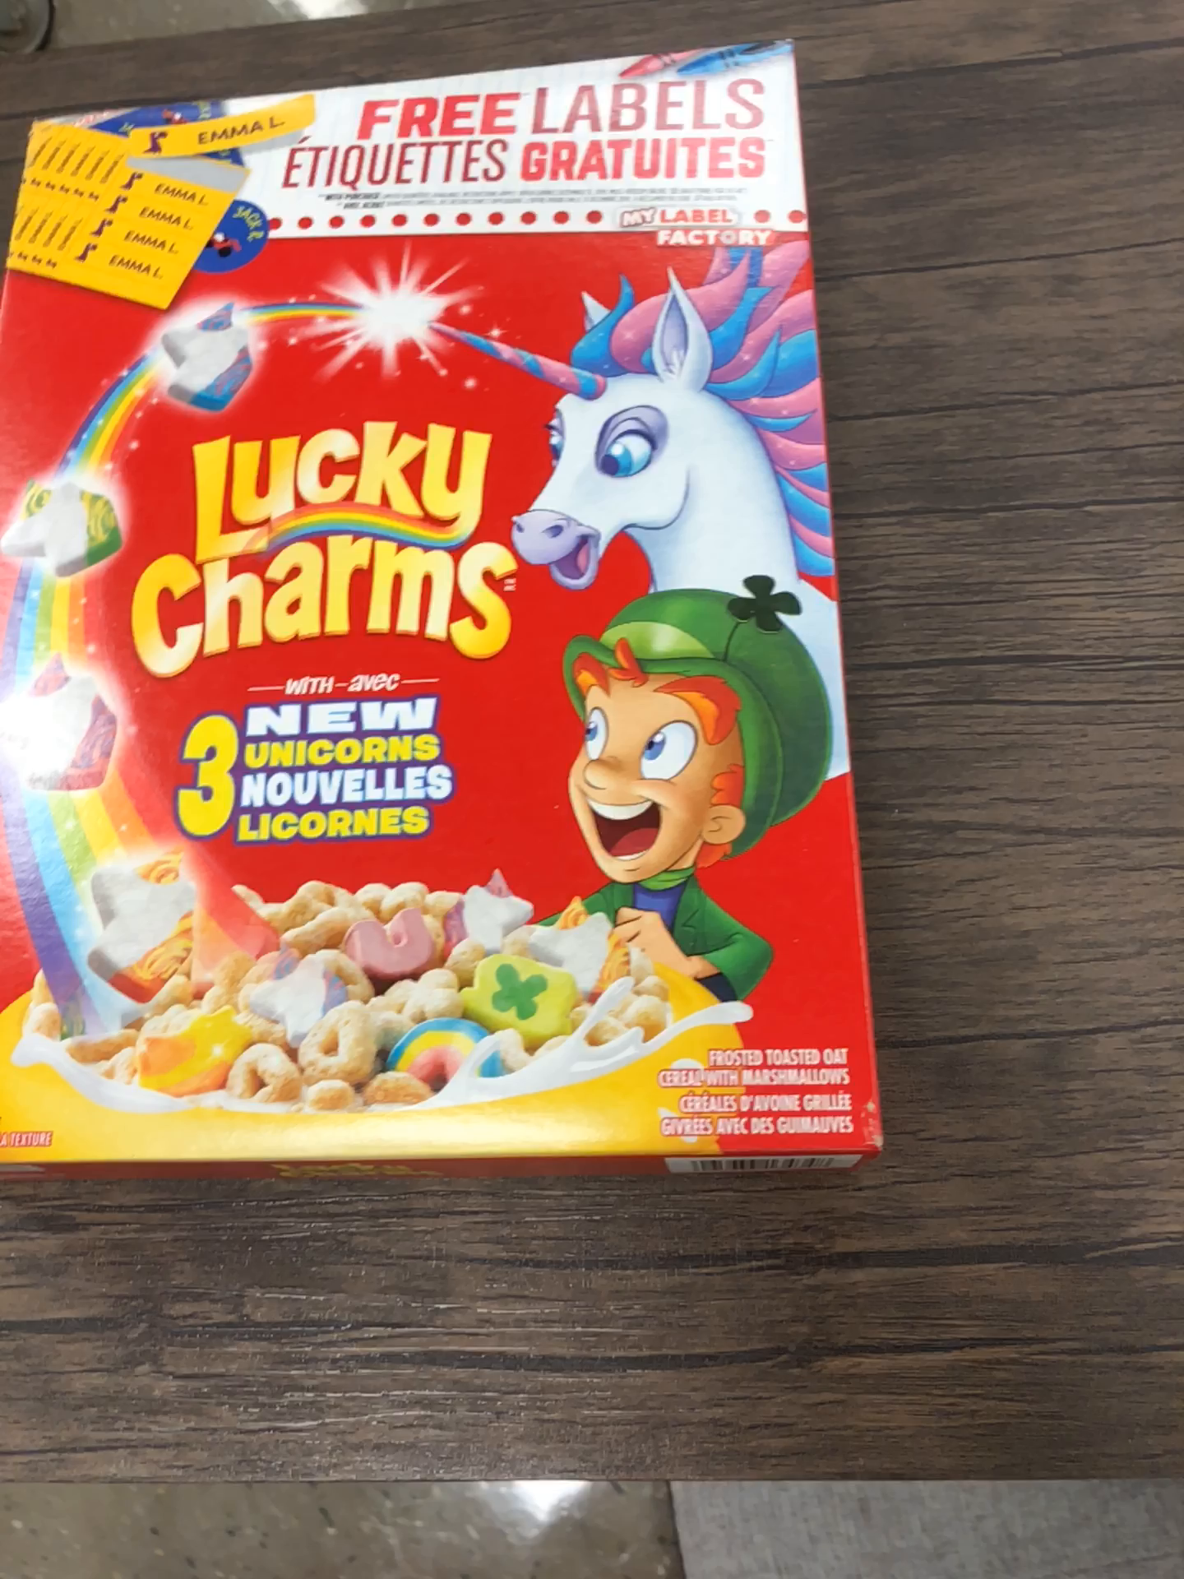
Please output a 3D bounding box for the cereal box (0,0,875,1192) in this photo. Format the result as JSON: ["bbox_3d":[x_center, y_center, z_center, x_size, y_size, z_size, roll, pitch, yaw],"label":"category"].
[{"bbox_3d":[-0.053,-0.062,0.375,0.230,0.080,0.330,-3,69,6],"label":"cereal box"}]
